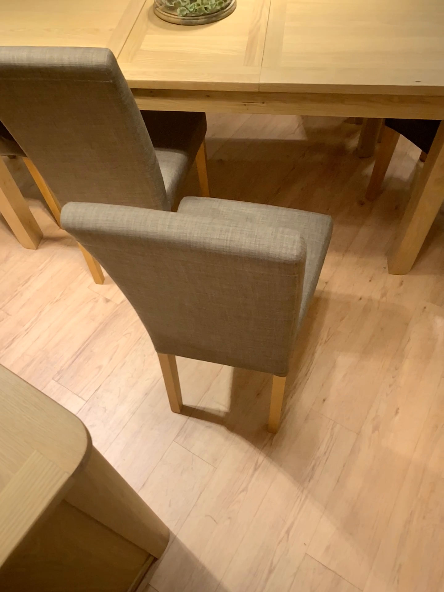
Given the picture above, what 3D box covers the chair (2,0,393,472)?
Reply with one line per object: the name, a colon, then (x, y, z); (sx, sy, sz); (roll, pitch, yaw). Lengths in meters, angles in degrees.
chair: (0.040, -0.060, 1.112); (0.490, 0.952, 0.614); (9, 55, 10)
